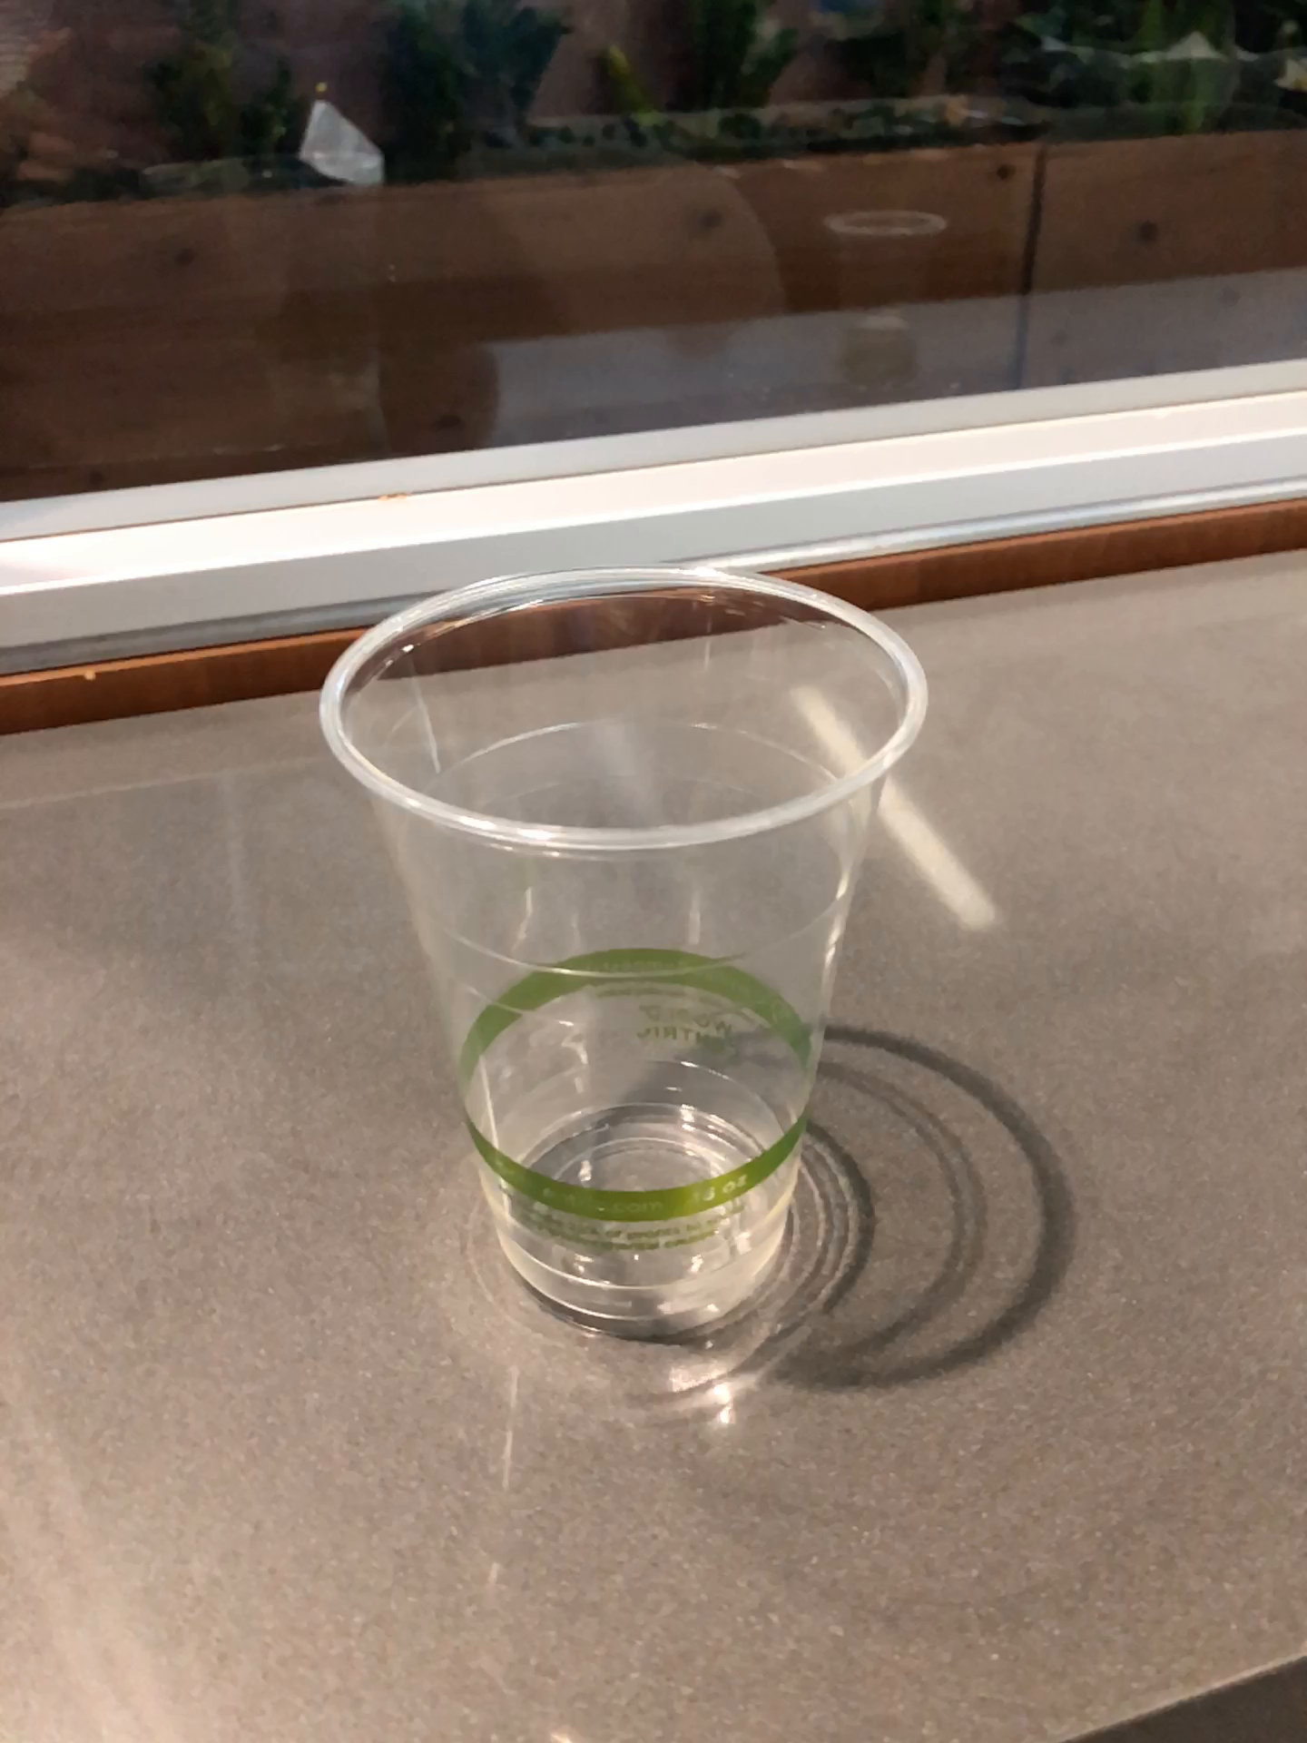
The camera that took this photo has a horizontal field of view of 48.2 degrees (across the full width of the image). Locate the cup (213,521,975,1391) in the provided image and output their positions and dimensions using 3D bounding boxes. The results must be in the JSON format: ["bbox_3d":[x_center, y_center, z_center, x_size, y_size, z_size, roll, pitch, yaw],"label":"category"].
[{"bbox_3d":[-0.001,0.009,0.268,0.100,0.109,0.100,-1,32,1],"label":"cup"}]
